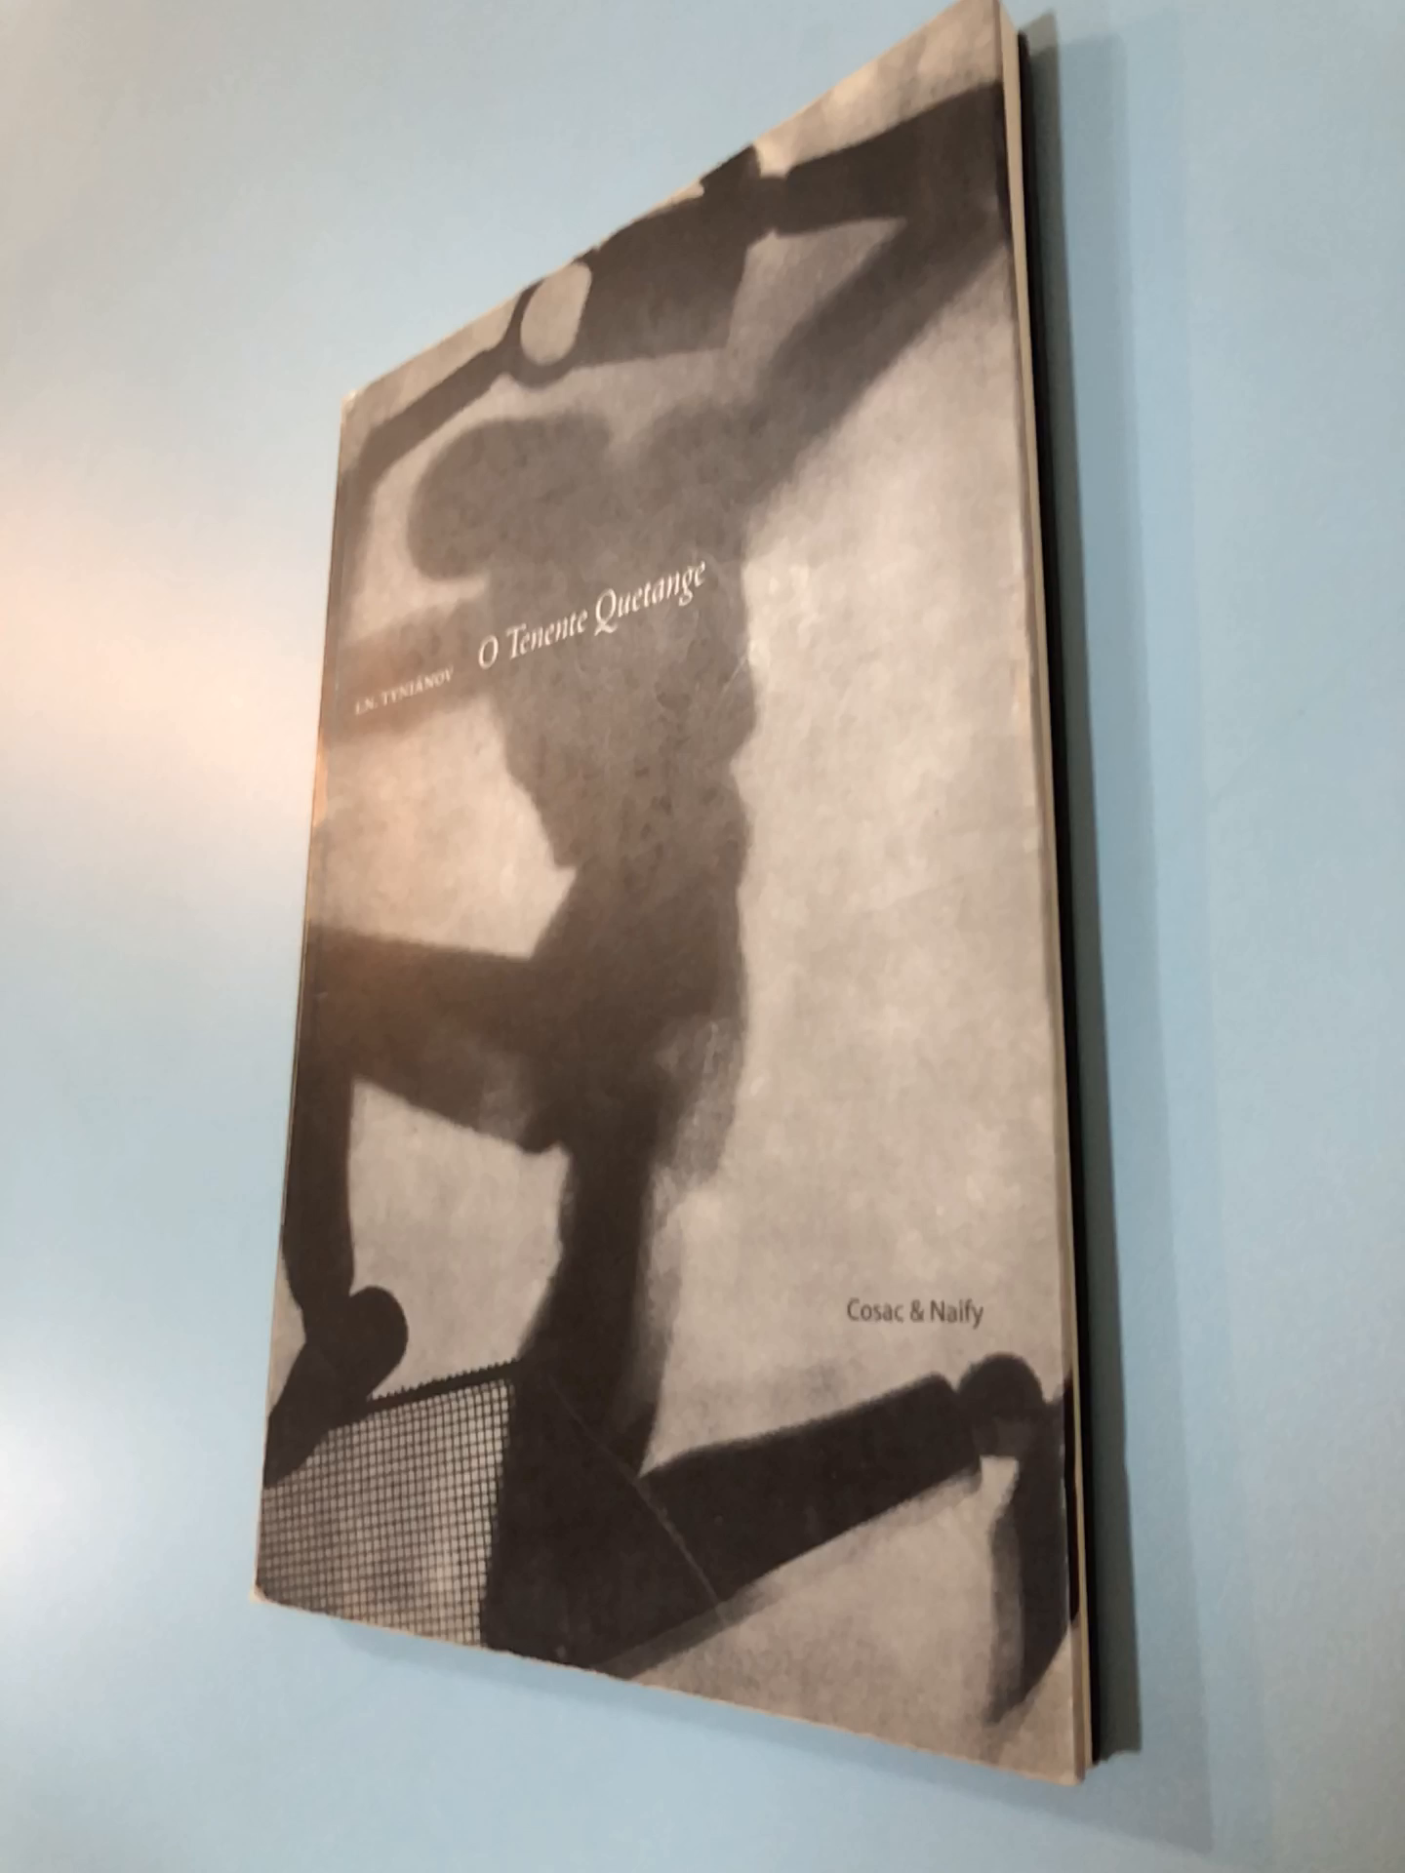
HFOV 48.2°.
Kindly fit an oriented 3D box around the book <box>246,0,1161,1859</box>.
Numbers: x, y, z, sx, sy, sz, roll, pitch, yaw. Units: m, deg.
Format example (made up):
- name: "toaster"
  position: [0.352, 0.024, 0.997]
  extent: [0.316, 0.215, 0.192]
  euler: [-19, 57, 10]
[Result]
- name: "book"
  position: [-0.010, -0.004, 0.211]
  extent: [0.135, 0.016, 0.197]
  euler: [-10, 74, 41]
